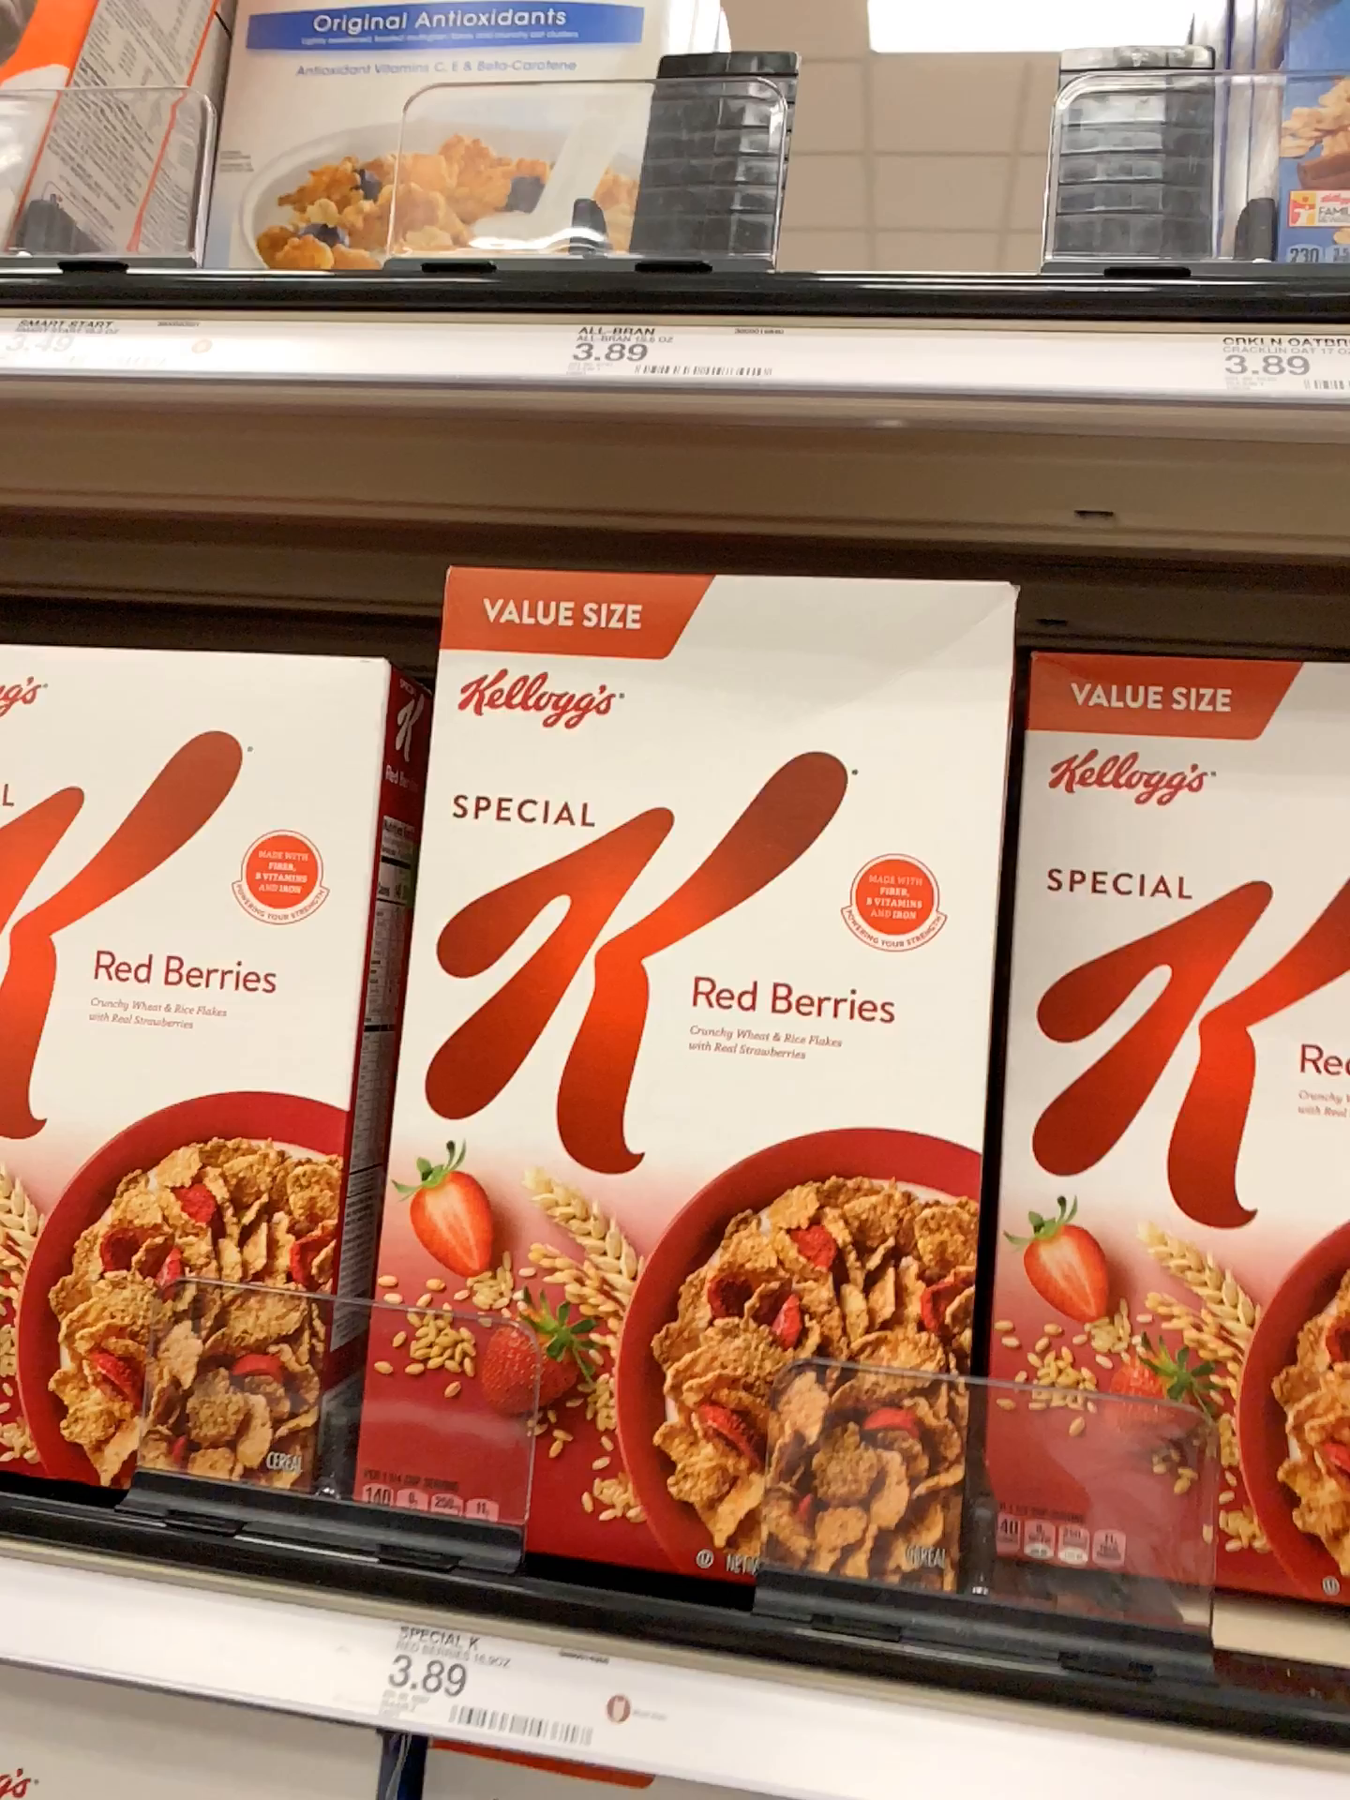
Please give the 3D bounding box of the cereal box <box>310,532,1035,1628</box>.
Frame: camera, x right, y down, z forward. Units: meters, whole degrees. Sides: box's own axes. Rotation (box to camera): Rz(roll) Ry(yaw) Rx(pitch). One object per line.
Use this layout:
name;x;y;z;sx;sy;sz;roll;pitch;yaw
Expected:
cereal box;0.003;0.048;0.463;0.200;0.320;0.060;5;-4;9

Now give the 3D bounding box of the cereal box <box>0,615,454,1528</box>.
cereal box;-0.200;0.053;0.503;0.200;0.290;0.060;5;-4;7

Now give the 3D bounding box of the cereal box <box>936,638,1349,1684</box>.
cereal box;0.210;0.081;0.501;0.200;0.330;0.060;5;-4;7
